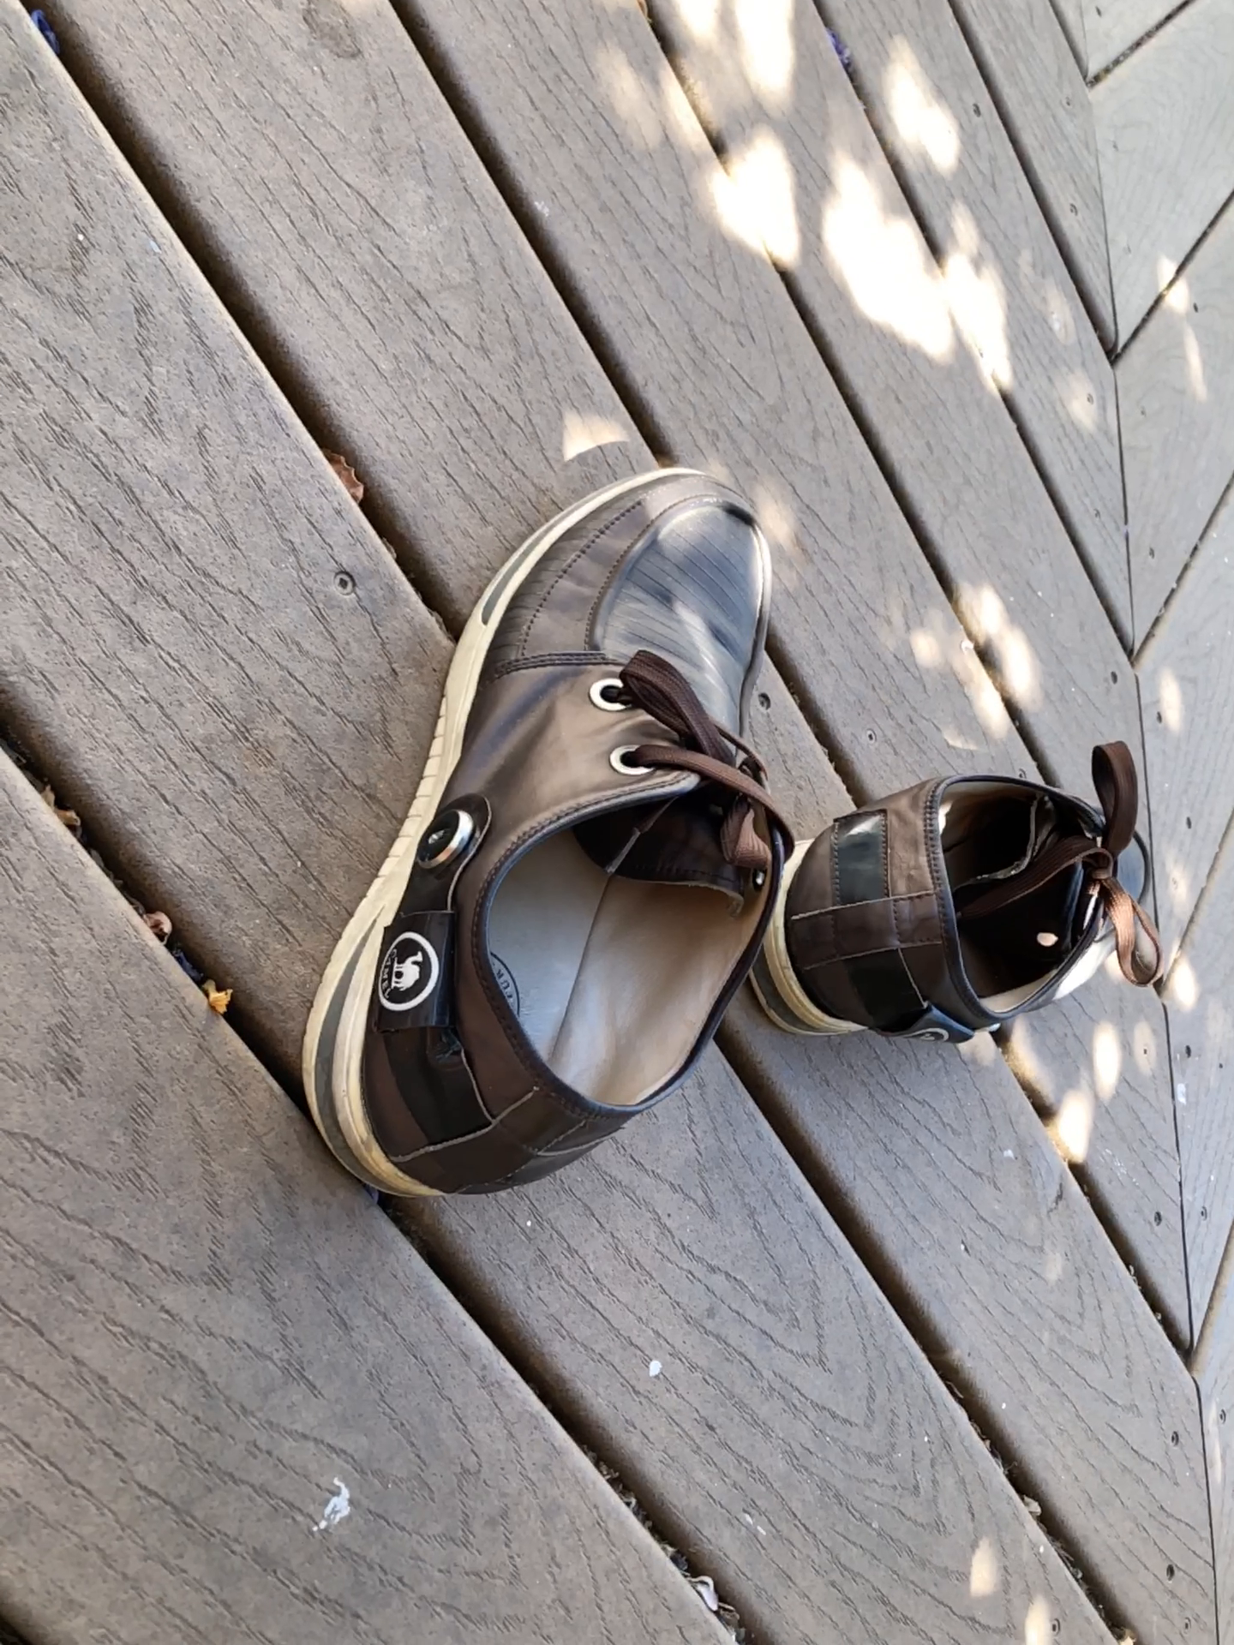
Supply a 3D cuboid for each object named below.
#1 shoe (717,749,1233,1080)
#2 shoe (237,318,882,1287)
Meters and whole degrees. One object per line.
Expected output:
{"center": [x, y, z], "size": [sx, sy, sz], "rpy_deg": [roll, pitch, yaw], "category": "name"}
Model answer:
{"center": [0.183, 0.034, 0.595], "size": [0.287, 0.099, 0.110], "rpy_deg": [-2, 82, -44], "category": "shoe"}
{"center": [-0.002, -0.014, 0.441], "size": [0.111, 0.069, 0.286], "rpy_deg": [38, 57, -32], "category": "shoe"}
